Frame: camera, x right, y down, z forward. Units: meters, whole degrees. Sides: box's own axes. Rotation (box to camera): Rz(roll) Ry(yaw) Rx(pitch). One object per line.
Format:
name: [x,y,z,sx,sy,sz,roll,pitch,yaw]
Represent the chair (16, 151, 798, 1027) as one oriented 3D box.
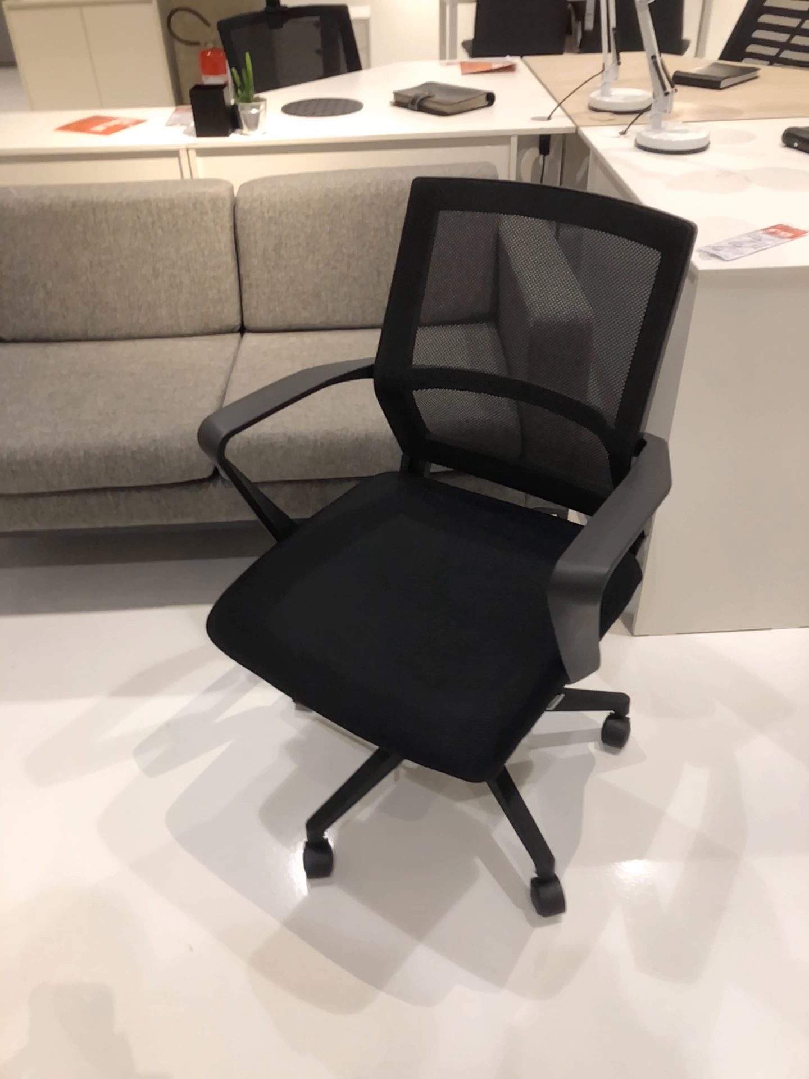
chair: [0.034,0.030,1.322,0.681,0.933,0.633,22,43,28]
